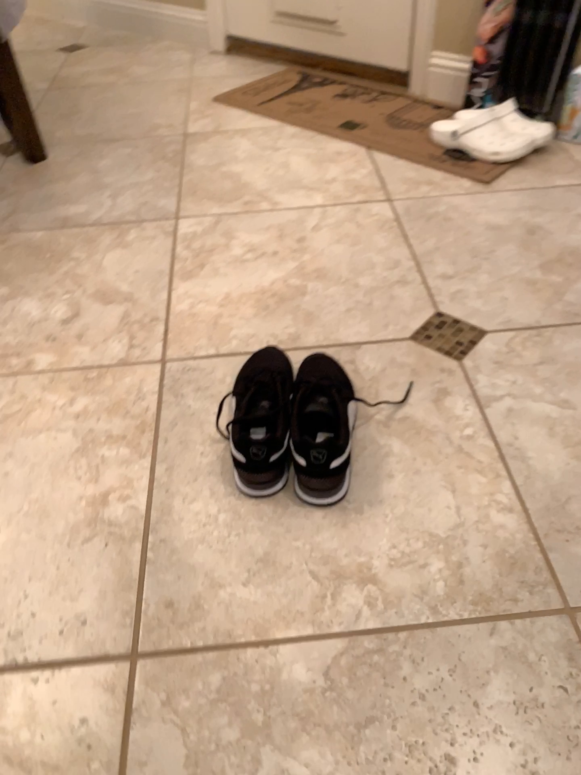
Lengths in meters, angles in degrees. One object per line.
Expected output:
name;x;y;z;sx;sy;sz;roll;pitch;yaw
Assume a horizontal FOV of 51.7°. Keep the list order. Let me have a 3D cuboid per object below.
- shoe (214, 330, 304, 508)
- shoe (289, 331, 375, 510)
shoe;-0.038;0.036;0.890;0.108;0.095;0.270;1;44;2
shoe;0.059;0.039;0.883;0.108;0.095;0.270;0;44;3
